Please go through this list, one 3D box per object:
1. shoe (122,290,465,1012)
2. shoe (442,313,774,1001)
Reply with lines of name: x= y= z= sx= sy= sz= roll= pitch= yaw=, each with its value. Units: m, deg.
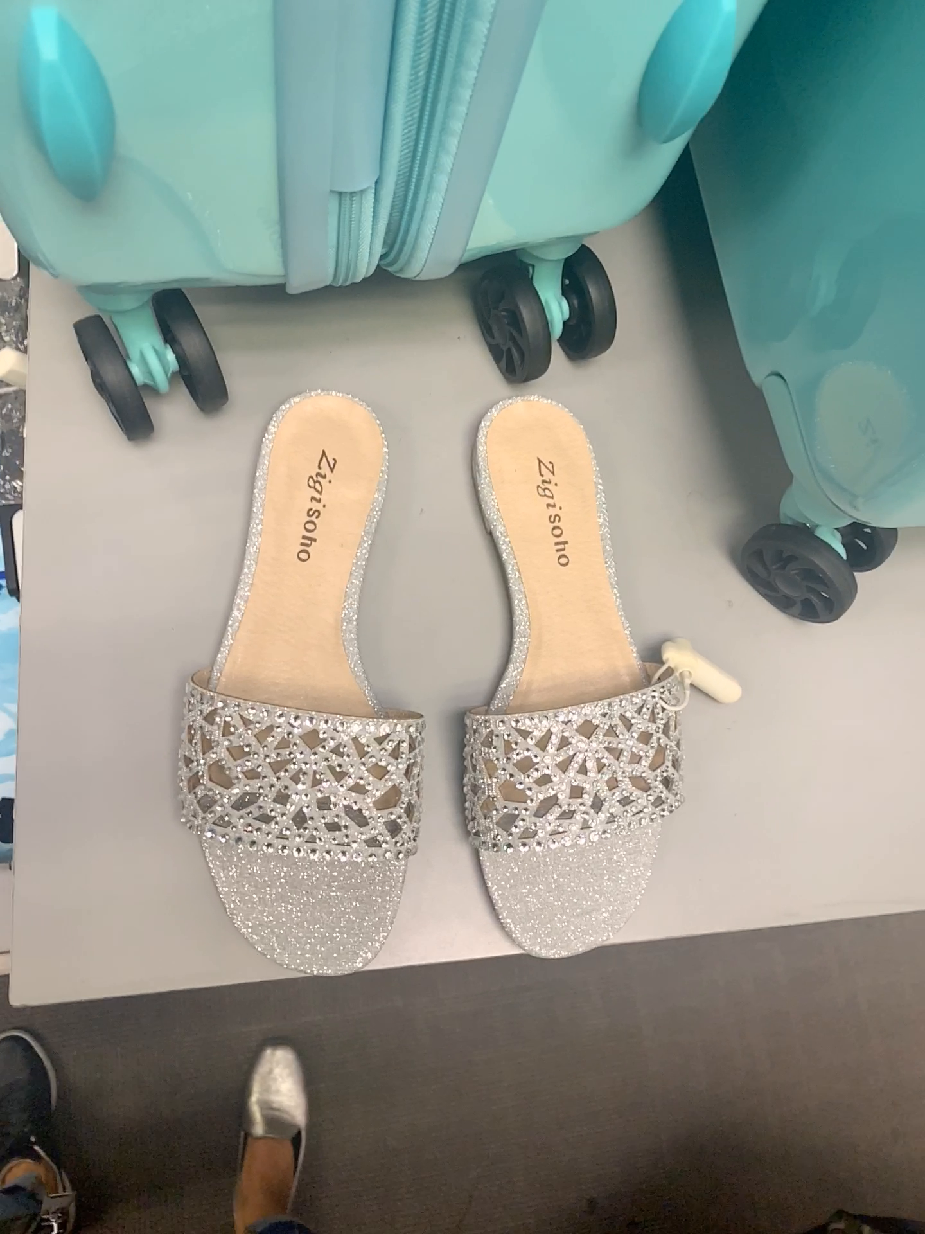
shoe: x=-0.055 y=0.010 z=0.348 sx=0.100 sy=0.061 sz=0.243 roll=3 pitch=76 yaw=-8
shoe: x=0.047 y=0.011 z=0.364 sx=0.098 sy=0.061 sz=0.242 roll=1 pitch=76 yaw=-9
